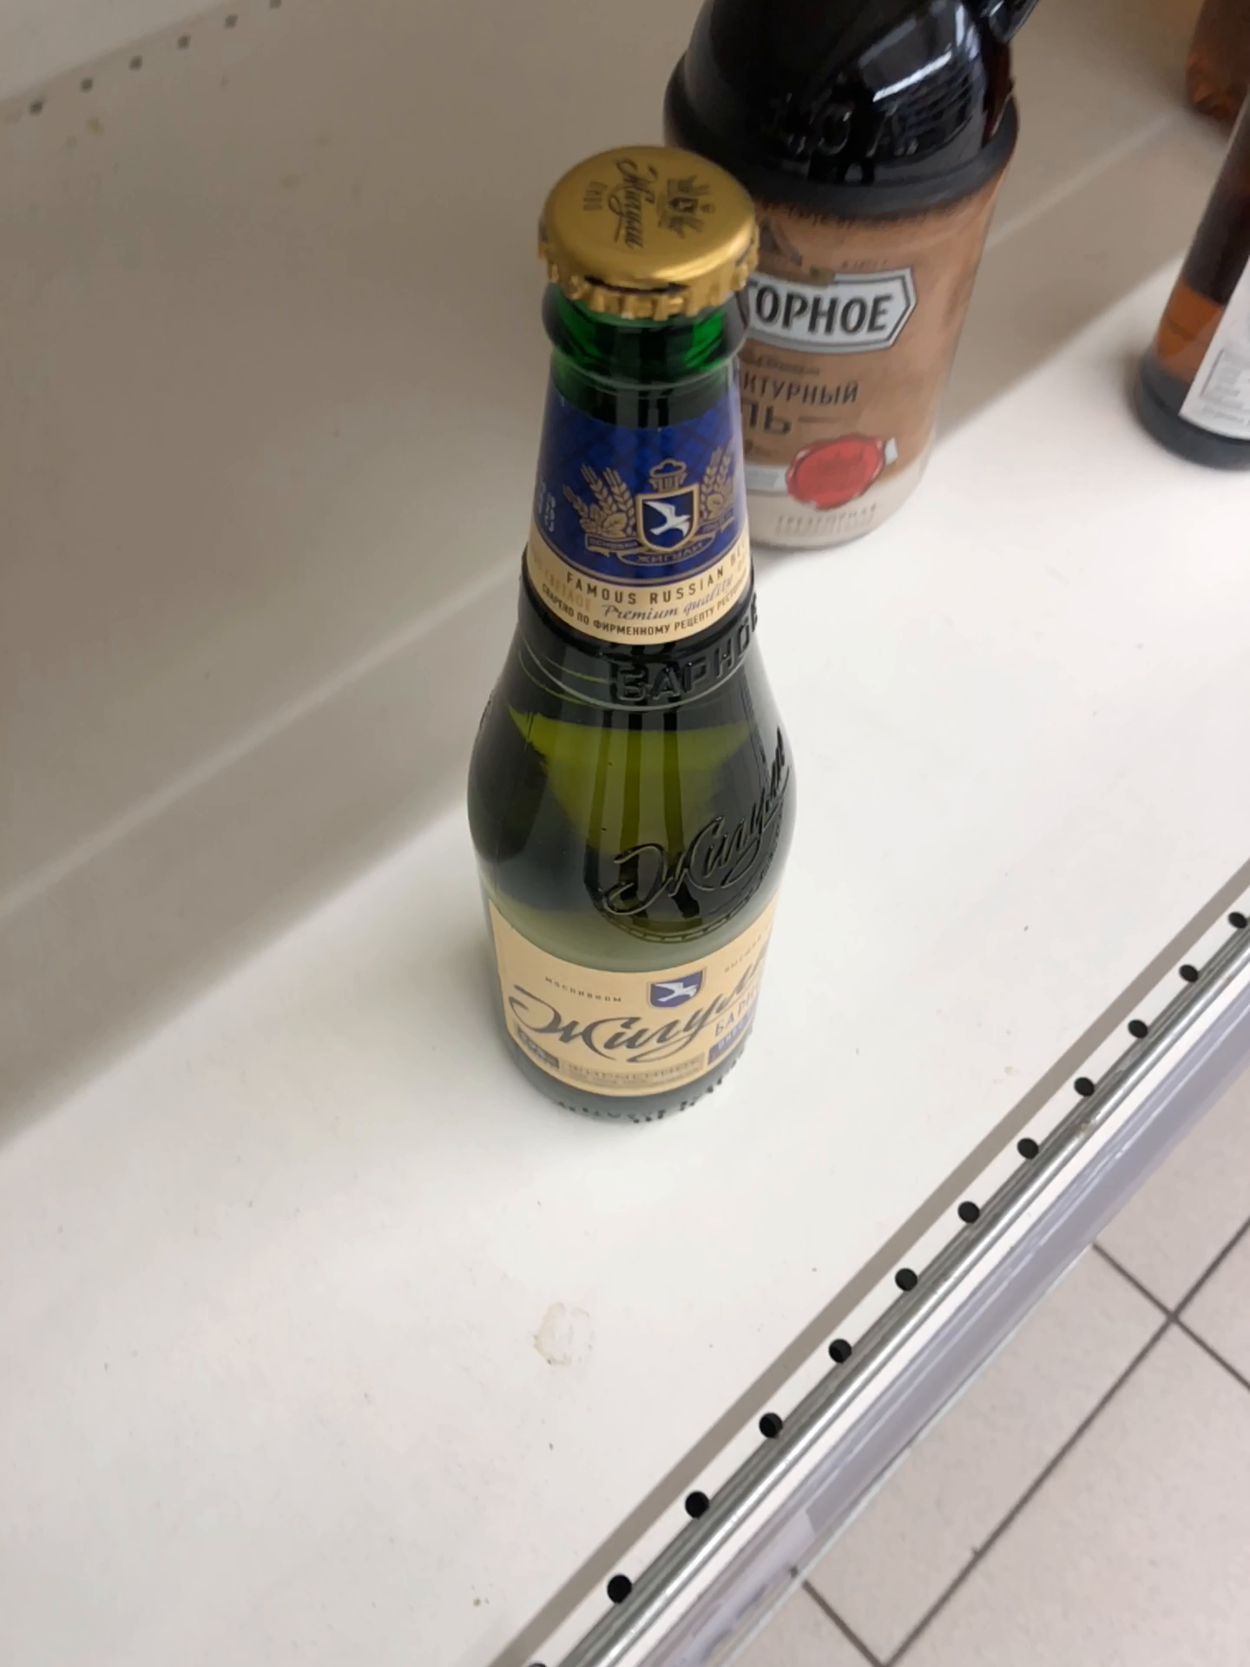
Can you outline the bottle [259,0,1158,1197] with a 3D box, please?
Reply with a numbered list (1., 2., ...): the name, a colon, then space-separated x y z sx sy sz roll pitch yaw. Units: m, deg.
1. bottle: 0.005 -0.014 0.282 0.090 0.249 0.080 -17 61 -11
